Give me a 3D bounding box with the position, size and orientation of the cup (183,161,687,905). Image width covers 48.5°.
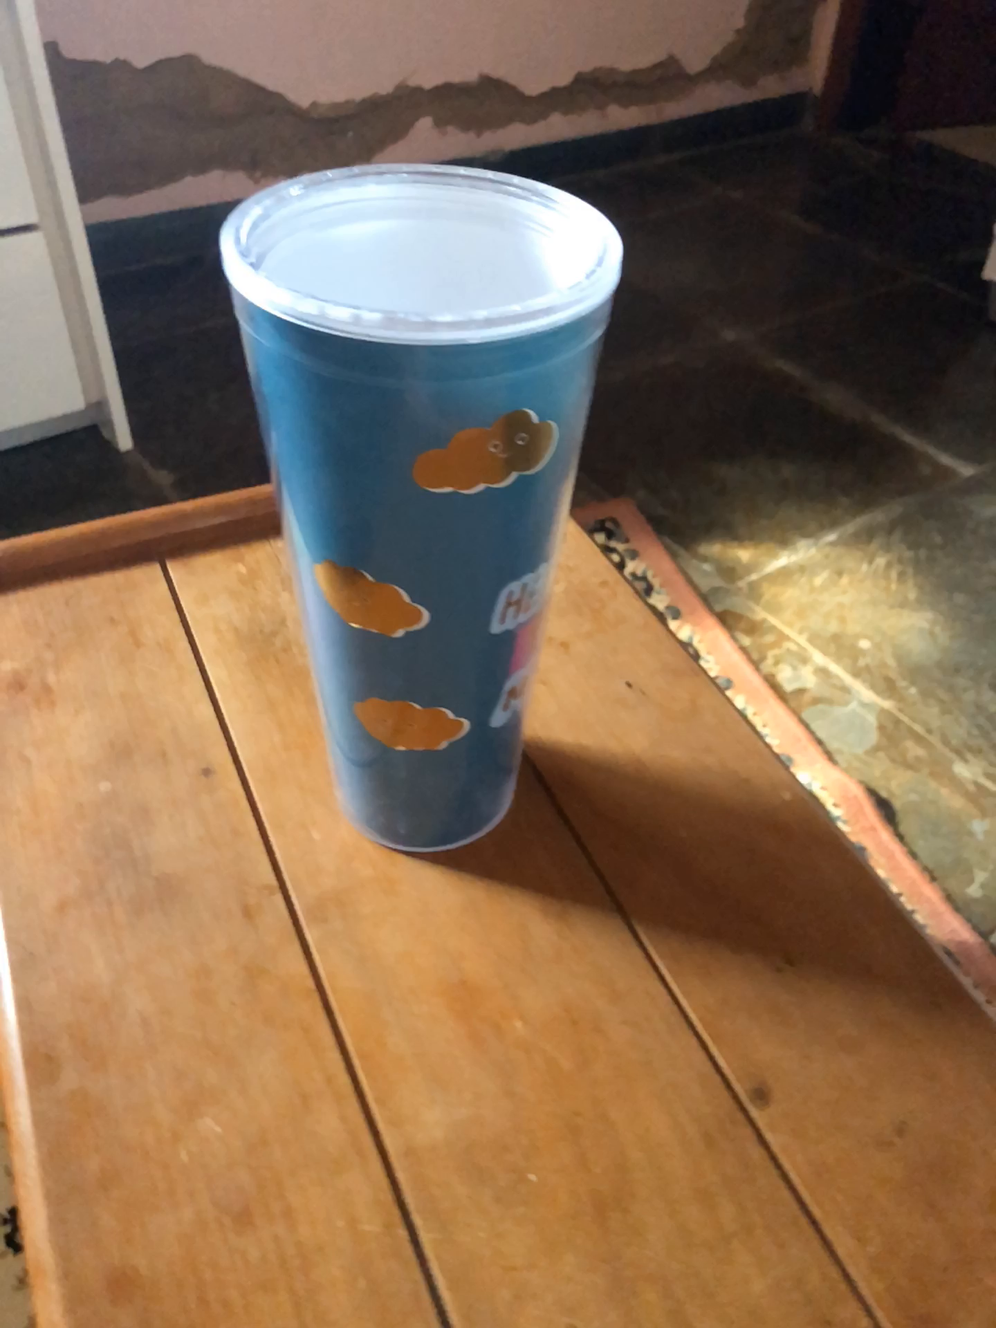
[{"bbox_3d":[-0.023,-0.034,0.323,0.100,0.179,0.101,1,42,-1],"label":"cup"}]
